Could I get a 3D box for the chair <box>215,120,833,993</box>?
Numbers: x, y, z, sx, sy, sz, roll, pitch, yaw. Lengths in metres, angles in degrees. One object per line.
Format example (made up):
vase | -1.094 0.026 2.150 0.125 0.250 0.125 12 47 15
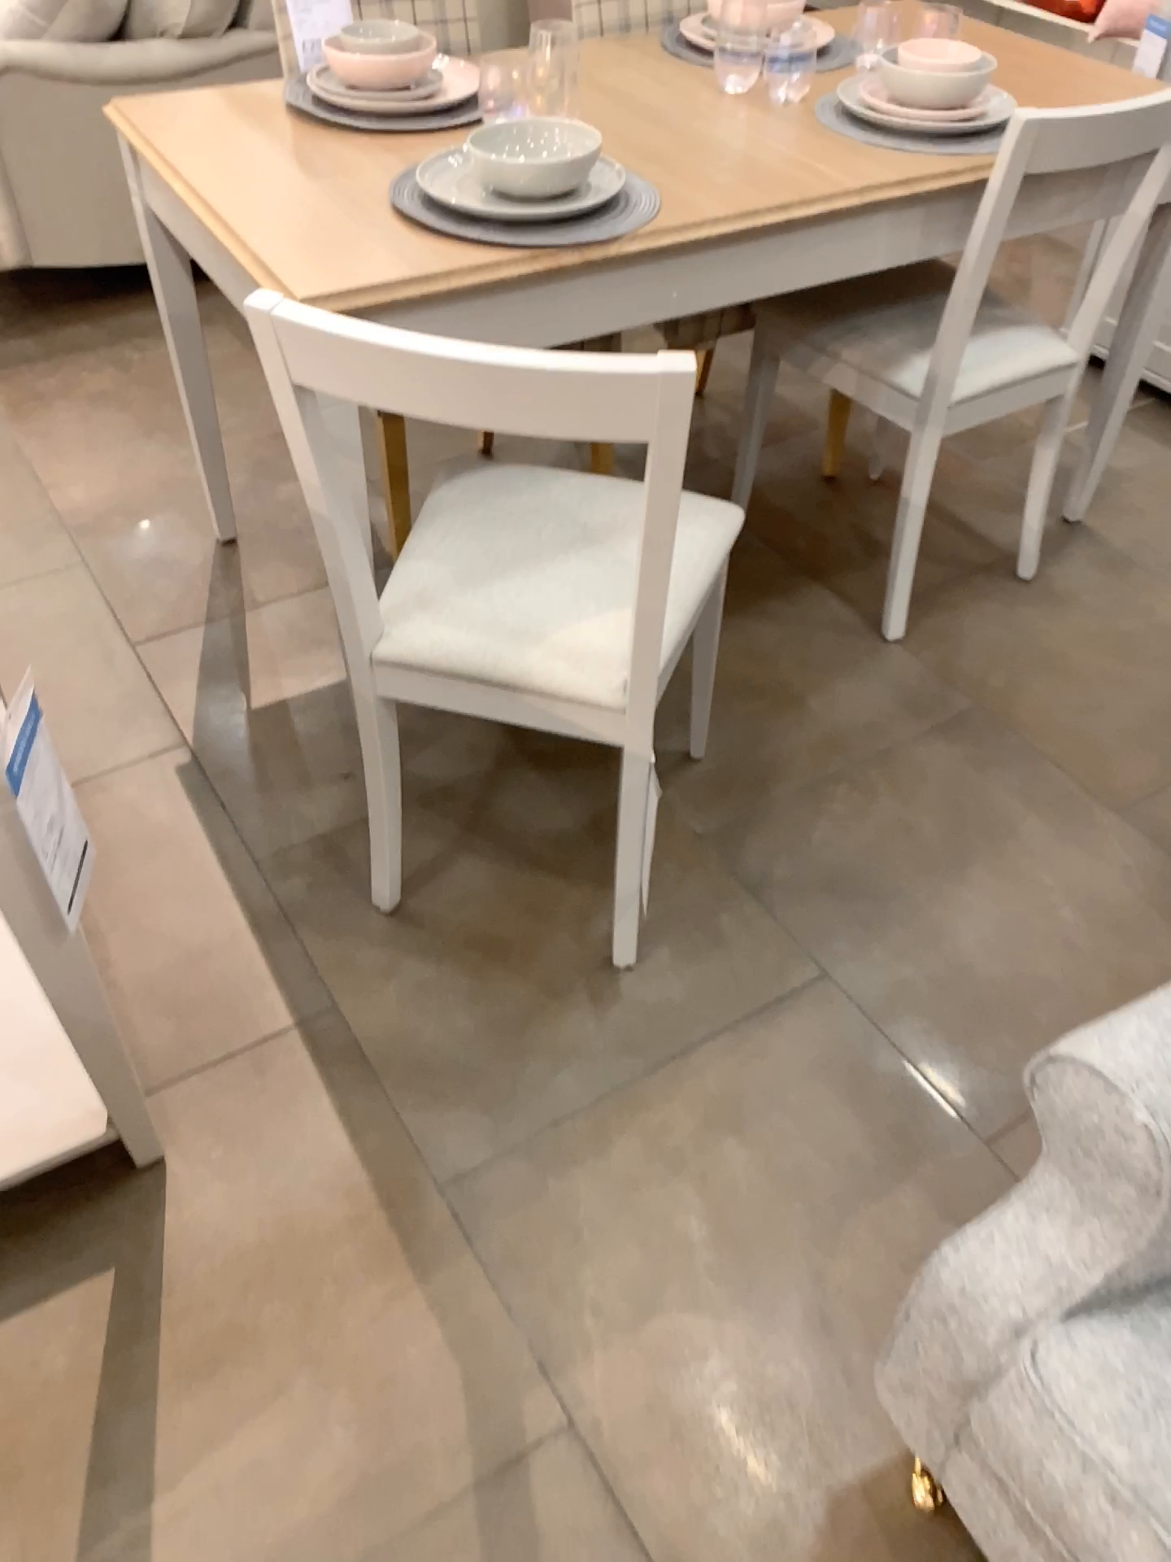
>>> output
chair | -0.036 -0.250 1.458 0.461 0.832 0.511 13 45 11
